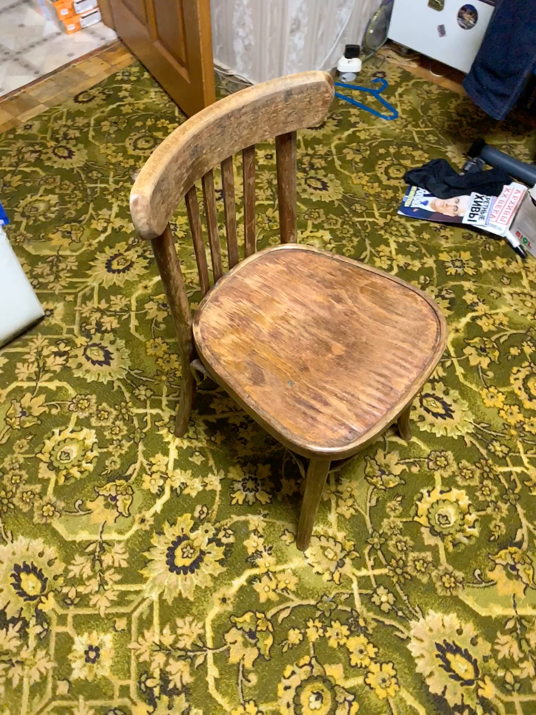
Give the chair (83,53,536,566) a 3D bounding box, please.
[{"bbox_3d":[0.057,-0.014,0.968,0.411,0.735,0.401,40,64,22],"label":"chair"}]
